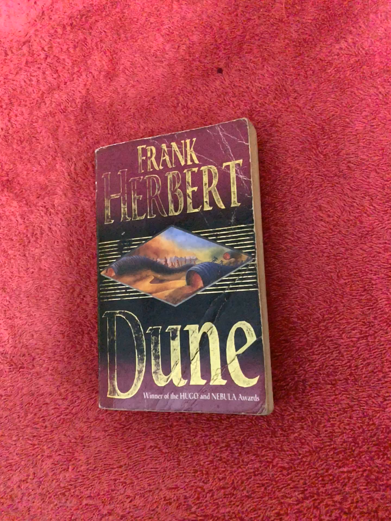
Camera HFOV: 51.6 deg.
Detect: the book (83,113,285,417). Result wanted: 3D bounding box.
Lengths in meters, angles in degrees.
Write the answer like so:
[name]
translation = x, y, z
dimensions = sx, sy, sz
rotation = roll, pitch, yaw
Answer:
[book]
translation = -0.011, 0.006, 0.255
dimensions = 0.114, 0.040, 0.165
rotation = -6, 80, 20
